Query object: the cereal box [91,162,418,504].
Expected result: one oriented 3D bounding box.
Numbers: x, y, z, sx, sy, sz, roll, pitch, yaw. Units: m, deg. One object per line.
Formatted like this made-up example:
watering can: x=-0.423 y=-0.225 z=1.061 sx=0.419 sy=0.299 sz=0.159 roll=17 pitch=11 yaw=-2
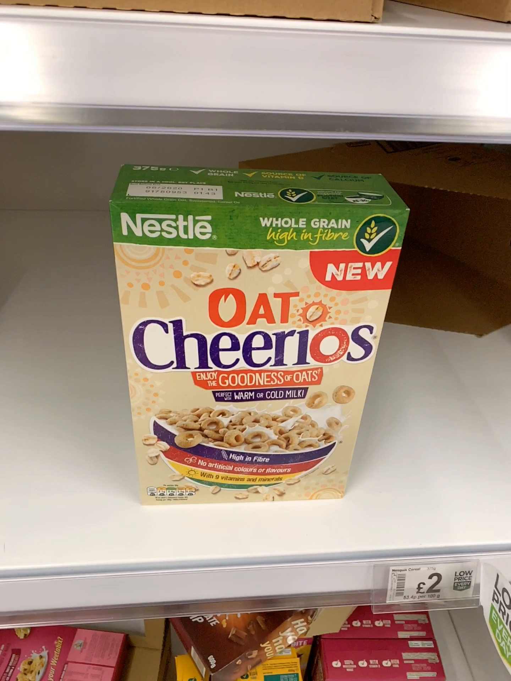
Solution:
cereal box: x=-0.008 y=0.012 z=0.432 sx=0.200 sy=0.287 sz=0.071 roll=0 pitch=36 yaw=-5
